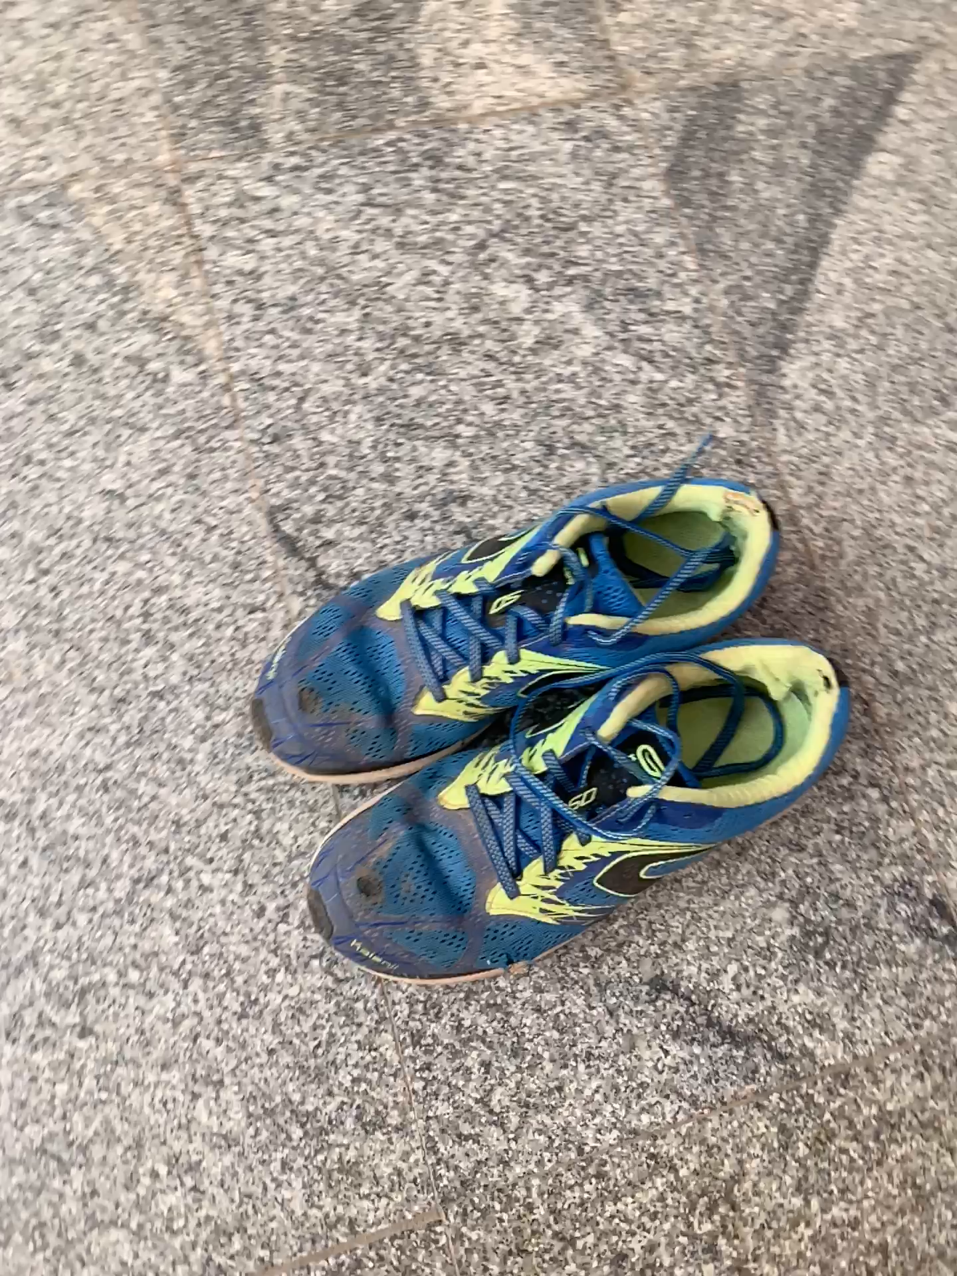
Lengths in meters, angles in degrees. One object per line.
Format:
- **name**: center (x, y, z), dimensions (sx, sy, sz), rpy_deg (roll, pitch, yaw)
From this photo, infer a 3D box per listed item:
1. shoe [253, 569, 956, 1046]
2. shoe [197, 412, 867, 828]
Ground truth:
- **shoe**: center (0.057, 0.072, 0.451), dimensions (0.290, 0.060, 0.100), rpy_deg (-21, 65, -12)
- **shoe**: center (0.026, -0.012, 0.480), dimensions (0.290, 0.060, 0.110), rpy_deg (-17, 74, -11)
